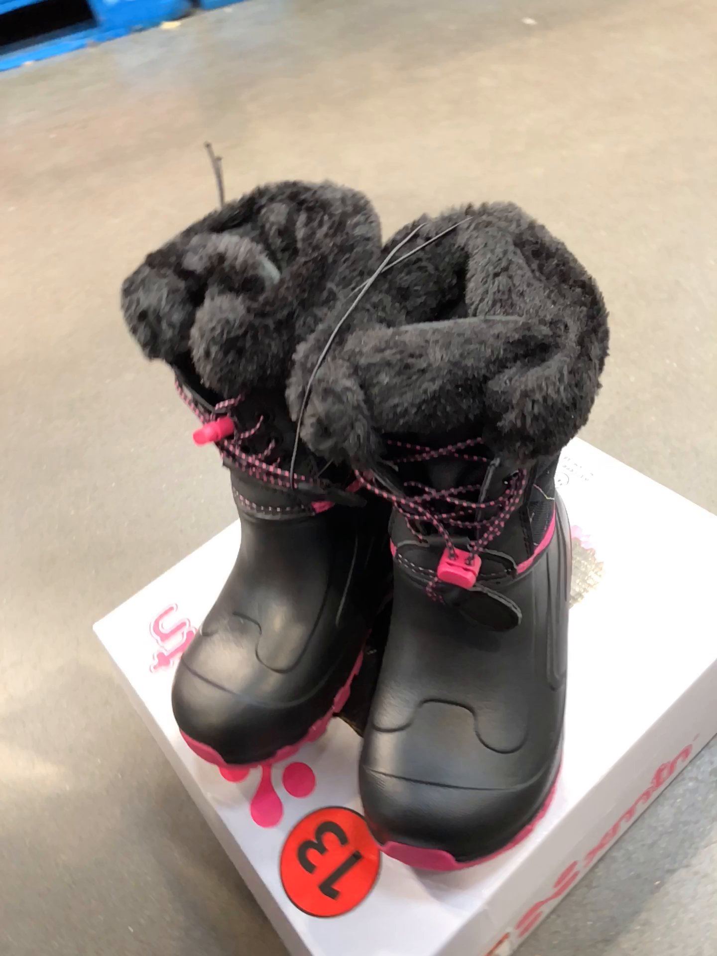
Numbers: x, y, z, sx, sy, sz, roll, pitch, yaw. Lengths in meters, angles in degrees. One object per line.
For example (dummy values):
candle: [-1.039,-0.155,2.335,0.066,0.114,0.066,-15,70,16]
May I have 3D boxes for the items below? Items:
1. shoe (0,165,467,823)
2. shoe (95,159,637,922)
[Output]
shoe: [-0.055,0.005,0.391,0.110,0.209,0.221,17,55,28]
shoe: [0.040,0.026,0.347,0.110,0.229,0.221,9,51,23]
